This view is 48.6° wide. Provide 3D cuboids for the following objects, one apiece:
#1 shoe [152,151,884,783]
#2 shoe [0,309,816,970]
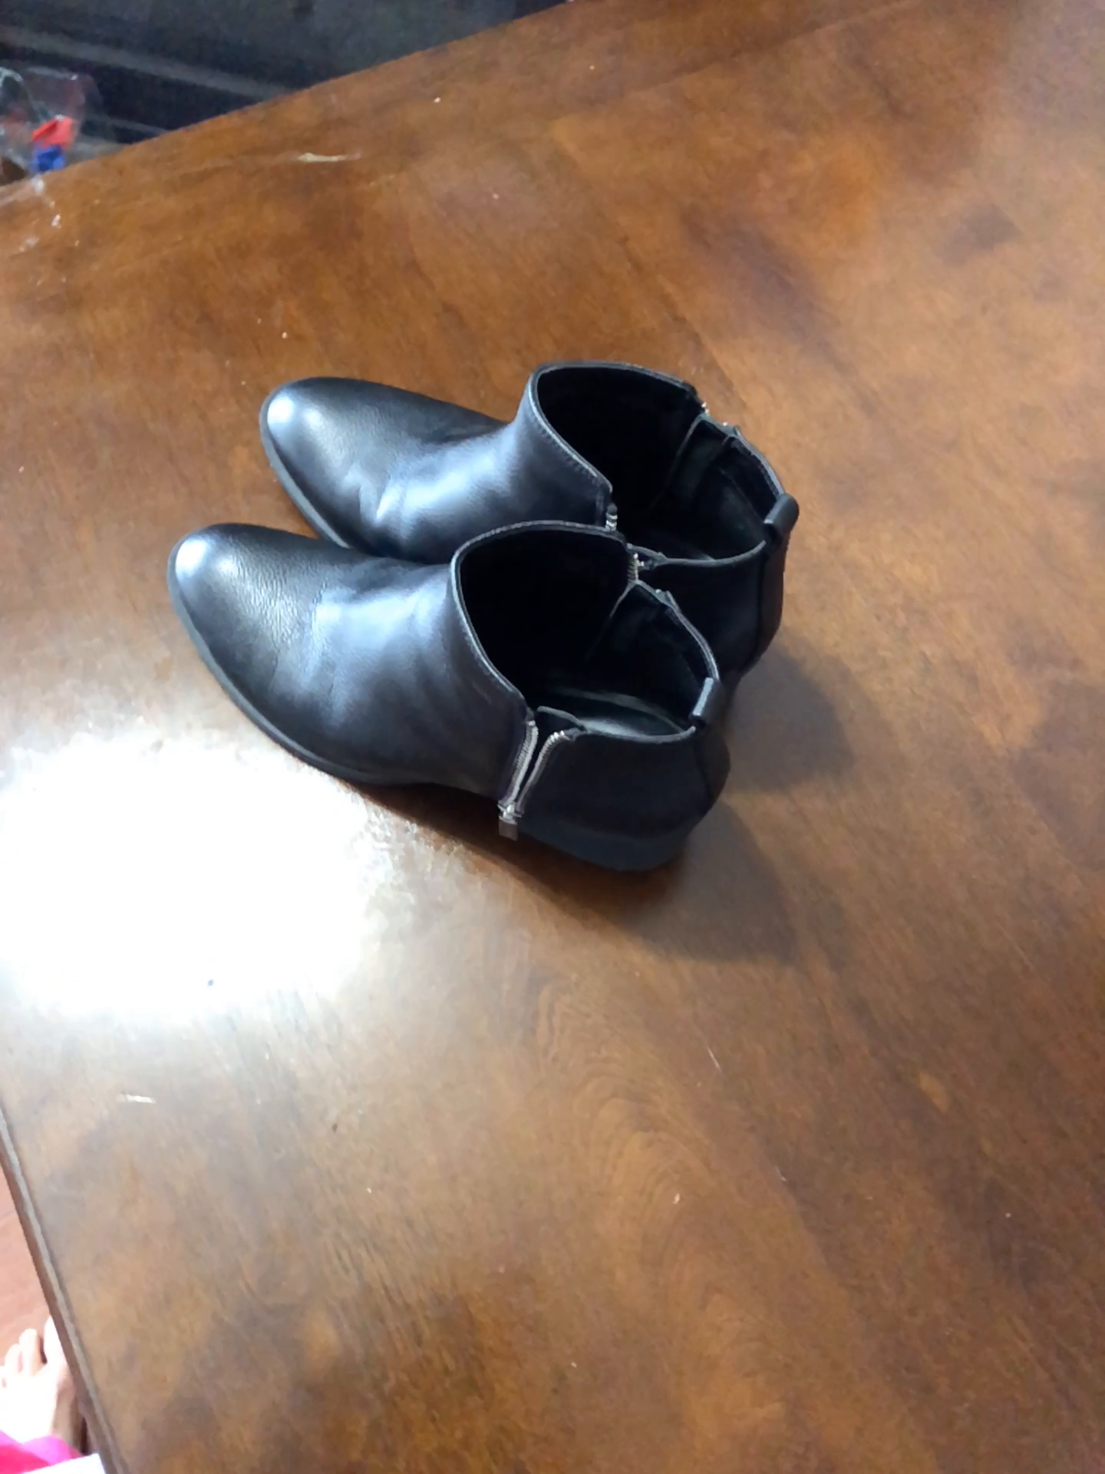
[{"bbox_3d":[-0.017,-0.110,0.515,0.260,0.130,0.100,30,68,11],"label":"shoe"},{"bbox_3d":[-0.052,-0.033,0.471,0.260,0.130,0.100,28,68,10],"label":"shoe"}]
